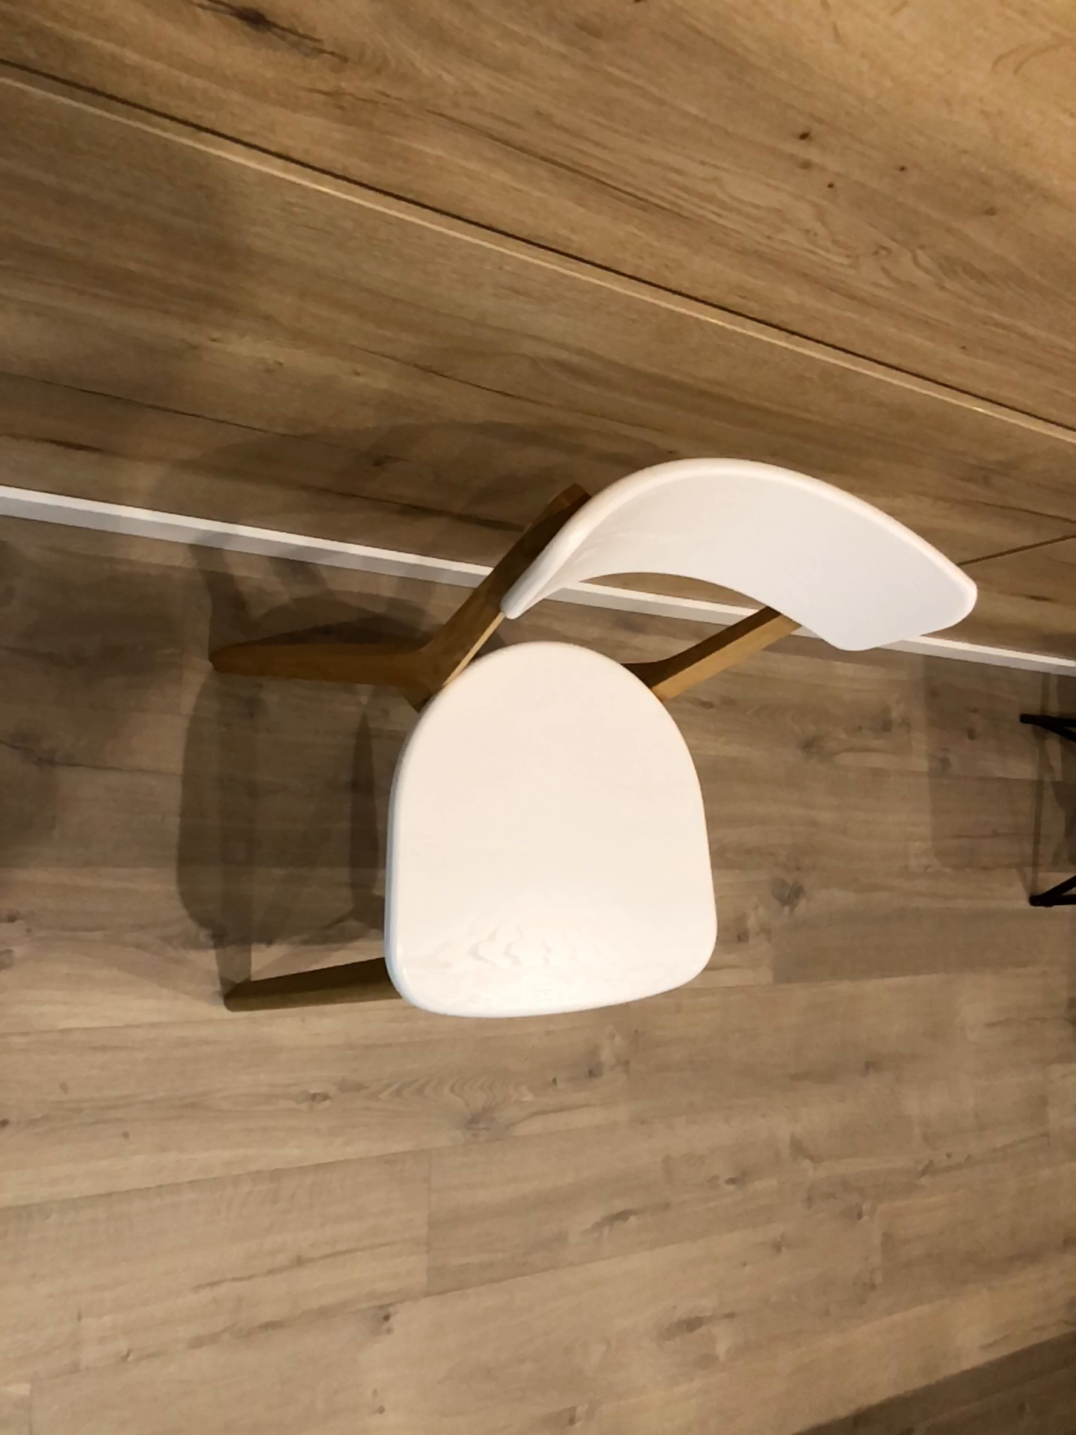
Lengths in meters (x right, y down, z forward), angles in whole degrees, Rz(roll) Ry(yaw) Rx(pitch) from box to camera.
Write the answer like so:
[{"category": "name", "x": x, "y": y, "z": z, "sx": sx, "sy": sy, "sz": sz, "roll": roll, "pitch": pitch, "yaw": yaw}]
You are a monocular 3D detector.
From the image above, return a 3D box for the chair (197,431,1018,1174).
[{"category": "chair", "x": -0.003, "y": 0.097, "z": 1.322, "sx": 0.502, "sy": 0.827, "sz": 0.530, "roll": 0, "pitch": 84, "yaw": -33}]
